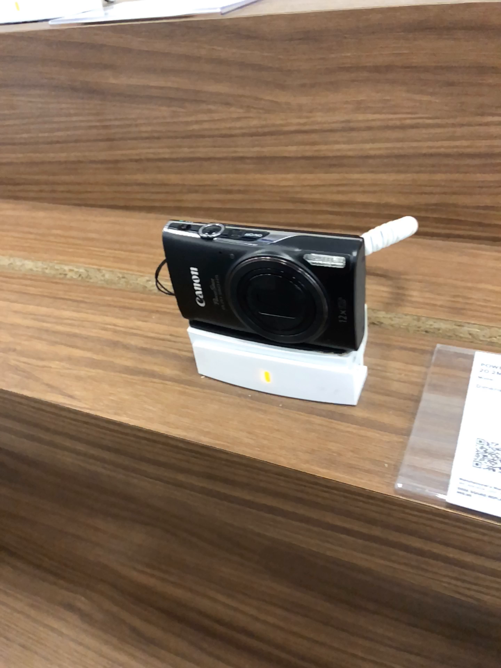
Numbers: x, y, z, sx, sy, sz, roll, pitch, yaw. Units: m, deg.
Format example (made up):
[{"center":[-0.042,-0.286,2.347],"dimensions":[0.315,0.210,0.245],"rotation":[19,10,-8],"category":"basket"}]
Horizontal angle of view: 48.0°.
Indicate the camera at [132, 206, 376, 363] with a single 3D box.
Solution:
[{"center":[0.002,-0.025,0.269],"dimensions":[0.110,0.060,0.020],"rotation":[10,43,22],"category":"camera"}]
